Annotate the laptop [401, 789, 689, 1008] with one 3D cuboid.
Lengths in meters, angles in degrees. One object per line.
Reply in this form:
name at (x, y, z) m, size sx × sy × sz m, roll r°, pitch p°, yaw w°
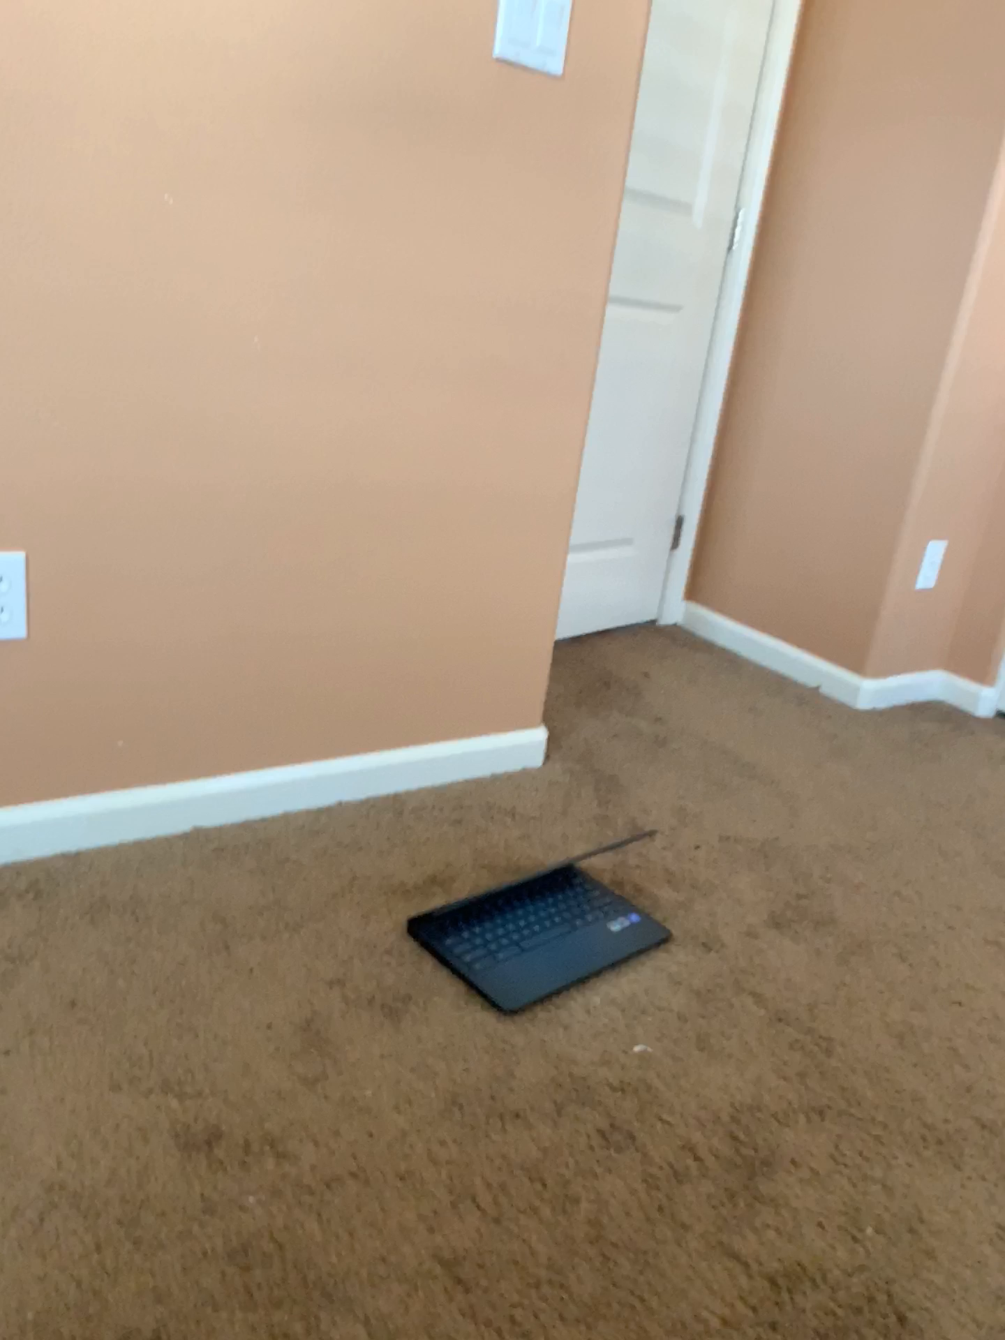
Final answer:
laptop at (0.054, 0.272, 1.285) m, size 0.289 × 0.127 × 0.195 m, roll -10°, pitch 24°, yaw -40°
